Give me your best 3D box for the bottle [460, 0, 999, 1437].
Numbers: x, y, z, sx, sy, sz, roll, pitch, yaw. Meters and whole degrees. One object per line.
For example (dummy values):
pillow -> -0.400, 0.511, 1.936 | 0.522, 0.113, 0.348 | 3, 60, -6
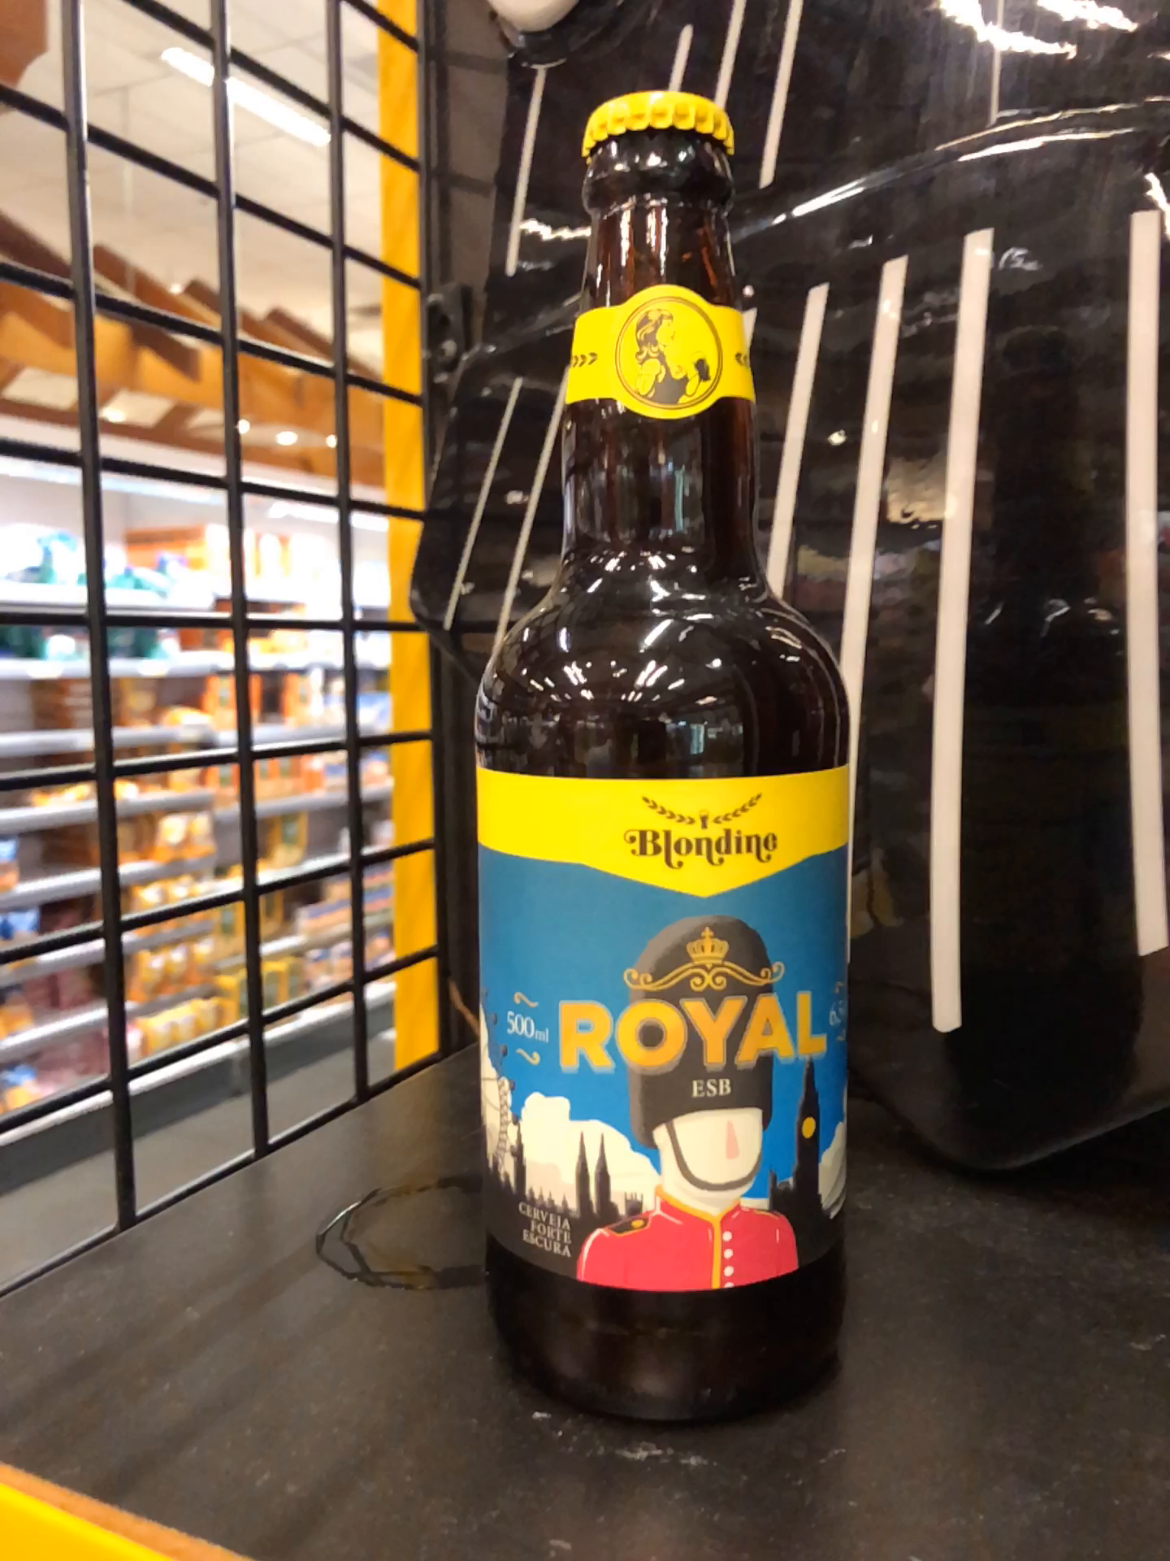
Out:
bottle -> 0.020, -0.017, 0.242 | 0.080, 0.240, 0.070 | -1, 5, -9
